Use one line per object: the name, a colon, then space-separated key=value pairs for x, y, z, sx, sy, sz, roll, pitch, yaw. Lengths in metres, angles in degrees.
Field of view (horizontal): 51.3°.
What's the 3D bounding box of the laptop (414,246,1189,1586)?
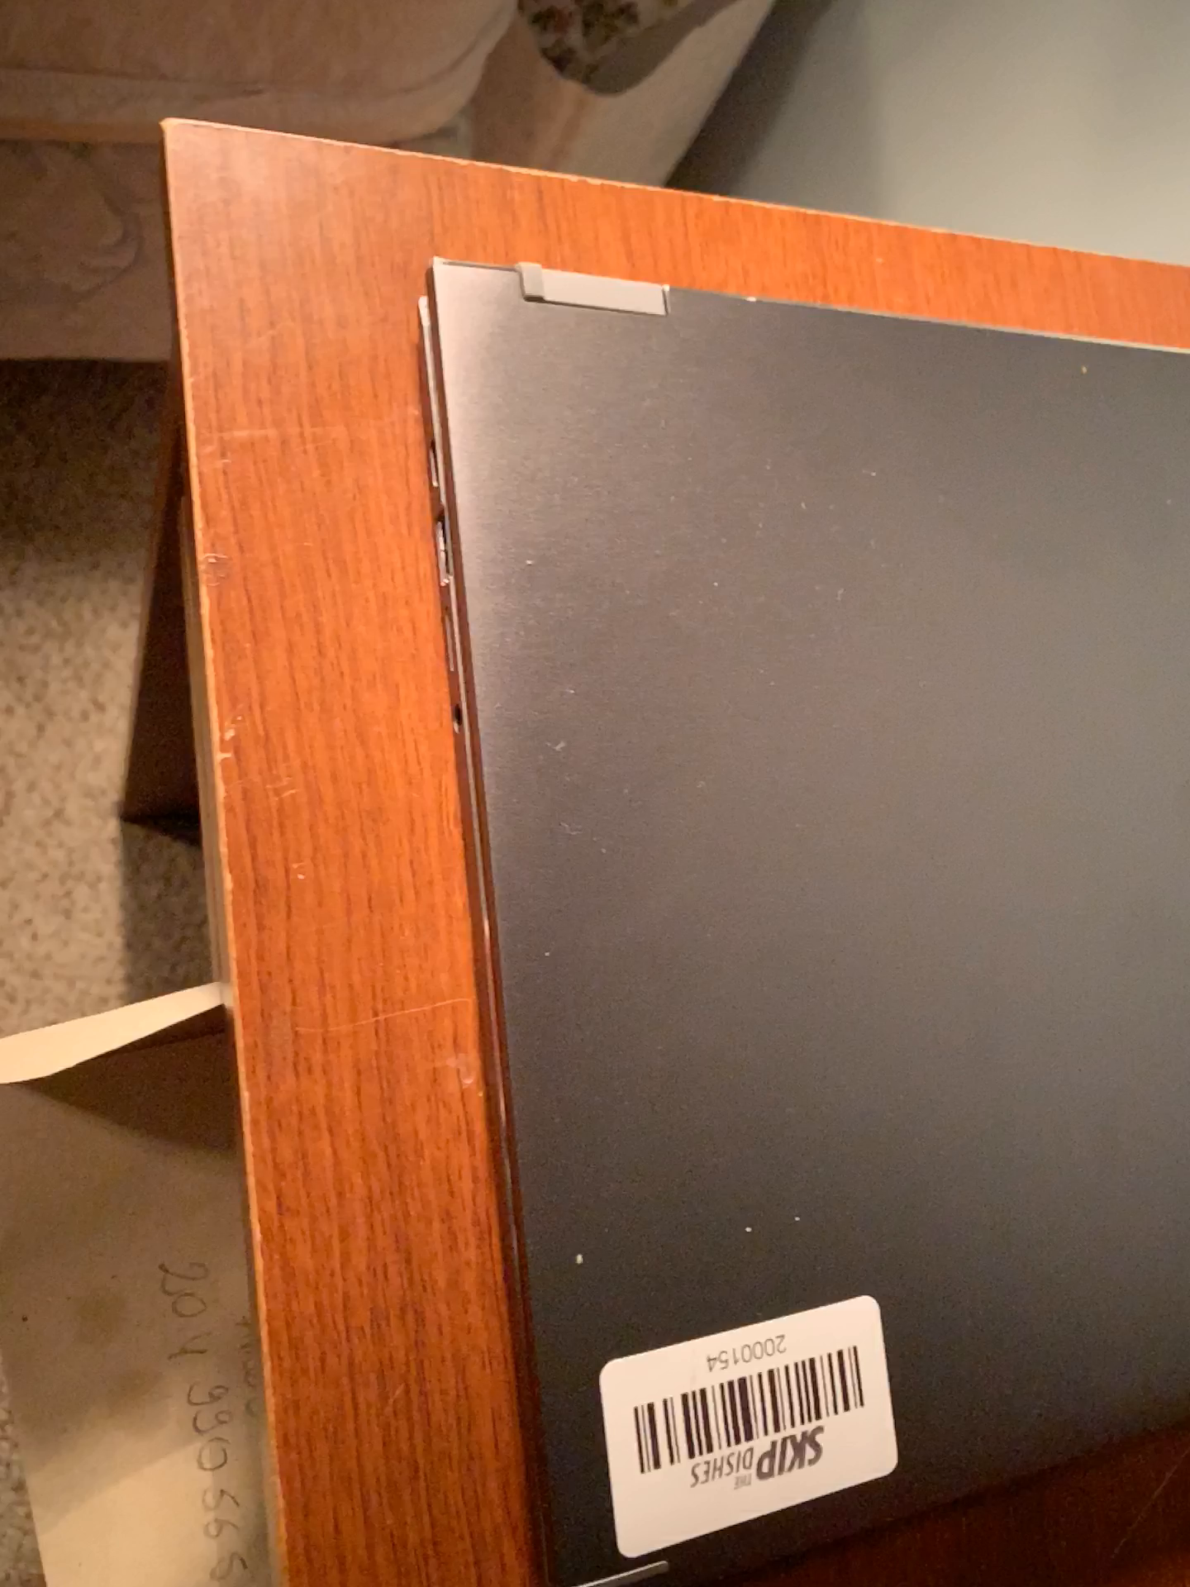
laptop: x=0.117 y=0.008 z=0.271 sx=0.300 sy=0.002 sz=0.232 roll=-3 pitch=82 yaw=-23
